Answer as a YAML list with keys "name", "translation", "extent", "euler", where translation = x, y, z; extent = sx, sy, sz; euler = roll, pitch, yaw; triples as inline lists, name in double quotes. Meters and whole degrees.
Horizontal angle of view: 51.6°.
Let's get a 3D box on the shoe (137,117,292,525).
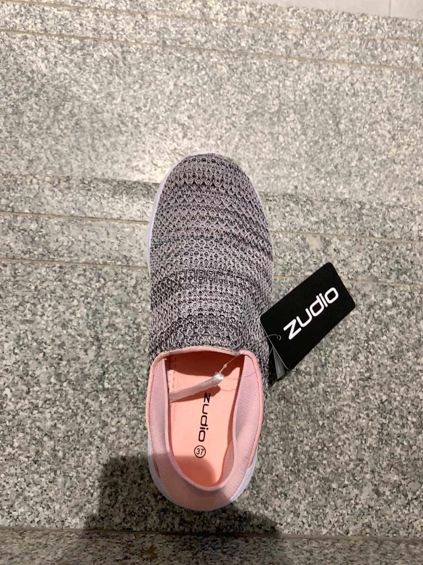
- name: "shoe"
  translation: [0.000, 0.024, 0.312]
  extent: [0.090, 0.080, 0.250]
  euler: [2, 87, -4]
